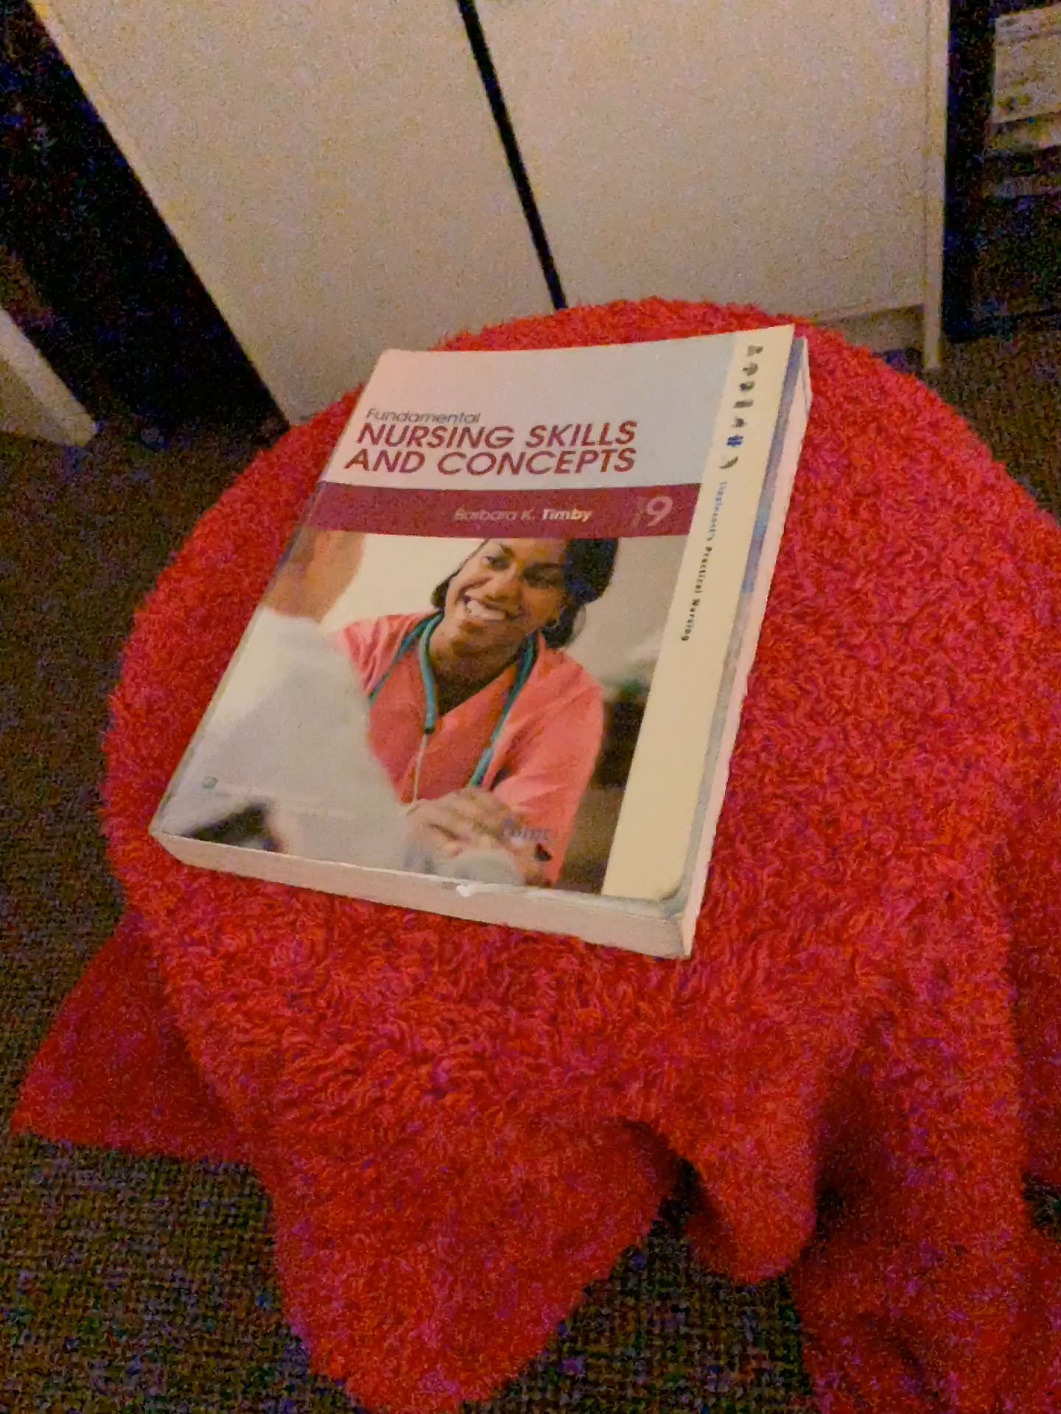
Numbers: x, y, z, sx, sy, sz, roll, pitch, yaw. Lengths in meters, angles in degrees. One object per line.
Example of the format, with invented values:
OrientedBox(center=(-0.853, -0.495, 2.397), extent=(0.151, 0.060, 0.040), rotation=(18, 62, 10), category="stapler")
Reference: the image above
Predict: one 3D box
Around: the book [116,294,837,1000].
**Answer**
OrientedBox(center=(-0.005, -0.048, 0.481), extent=(0.231, 0.069, 0.301), rotation=(5, 58, 23), category="book")
